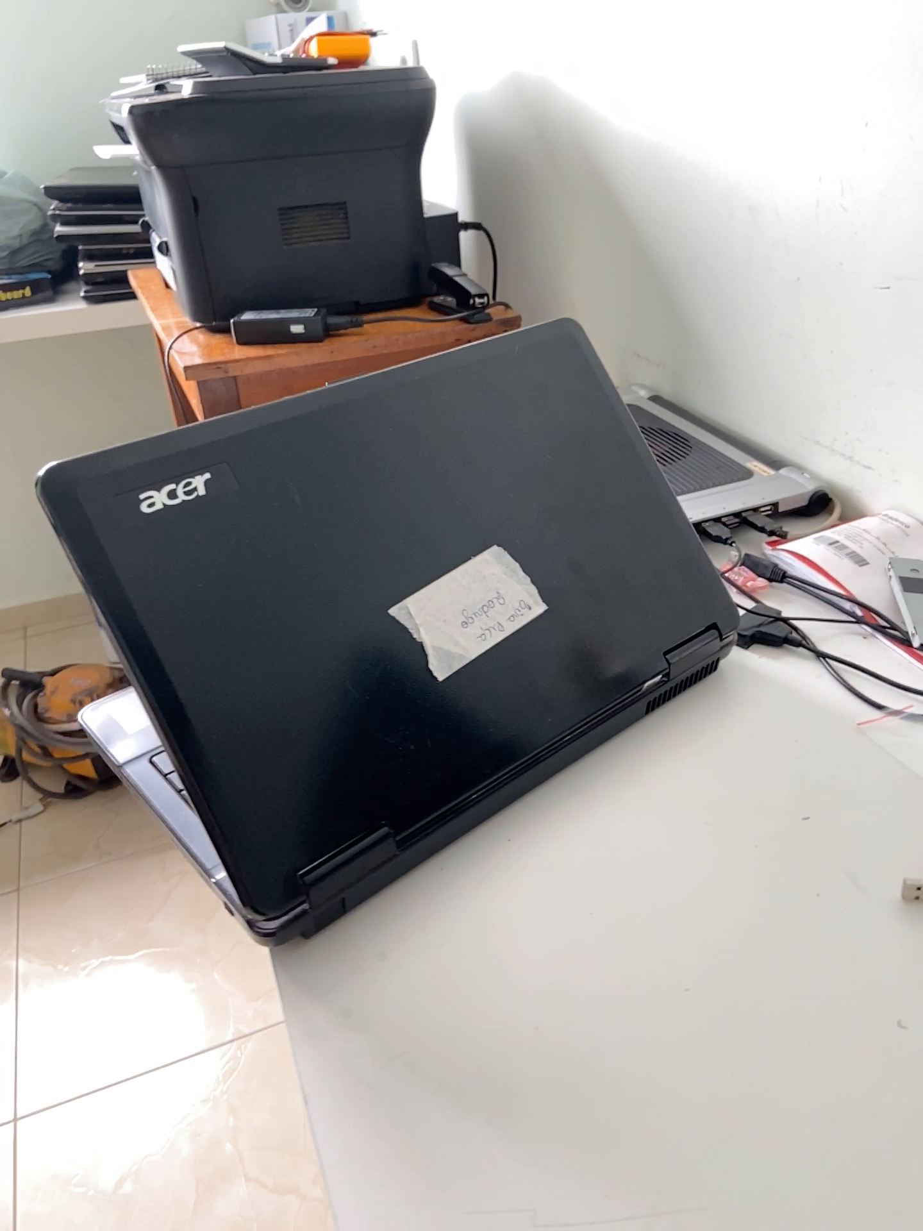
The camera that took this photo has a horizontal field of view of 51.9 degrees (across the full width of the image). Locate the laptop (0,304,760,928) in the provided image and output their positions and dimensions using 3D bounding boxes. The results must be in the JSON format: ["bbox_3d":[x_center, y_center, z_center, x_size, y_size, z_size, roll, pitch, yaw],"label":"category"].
[{"bbox_3d":[-0.035,-0.043,0.577,0.367,0.183,0.233,-26,37,-31],"label":"laptop"}]
